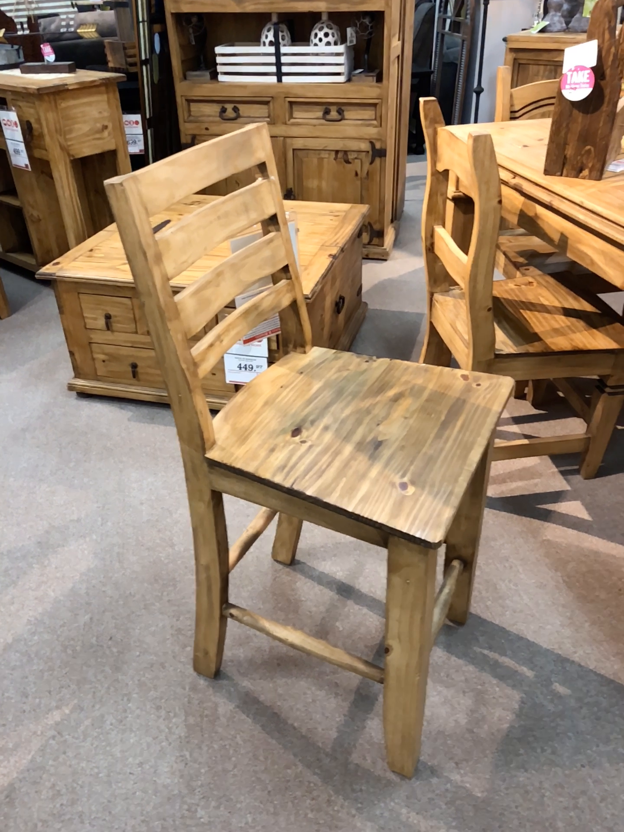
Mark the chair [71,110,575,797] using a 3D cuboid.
[{"bbox_3d":[0.058,0.072,1.190,0.521,1.013,0.472,14,37,22],"label":"chair"}]
